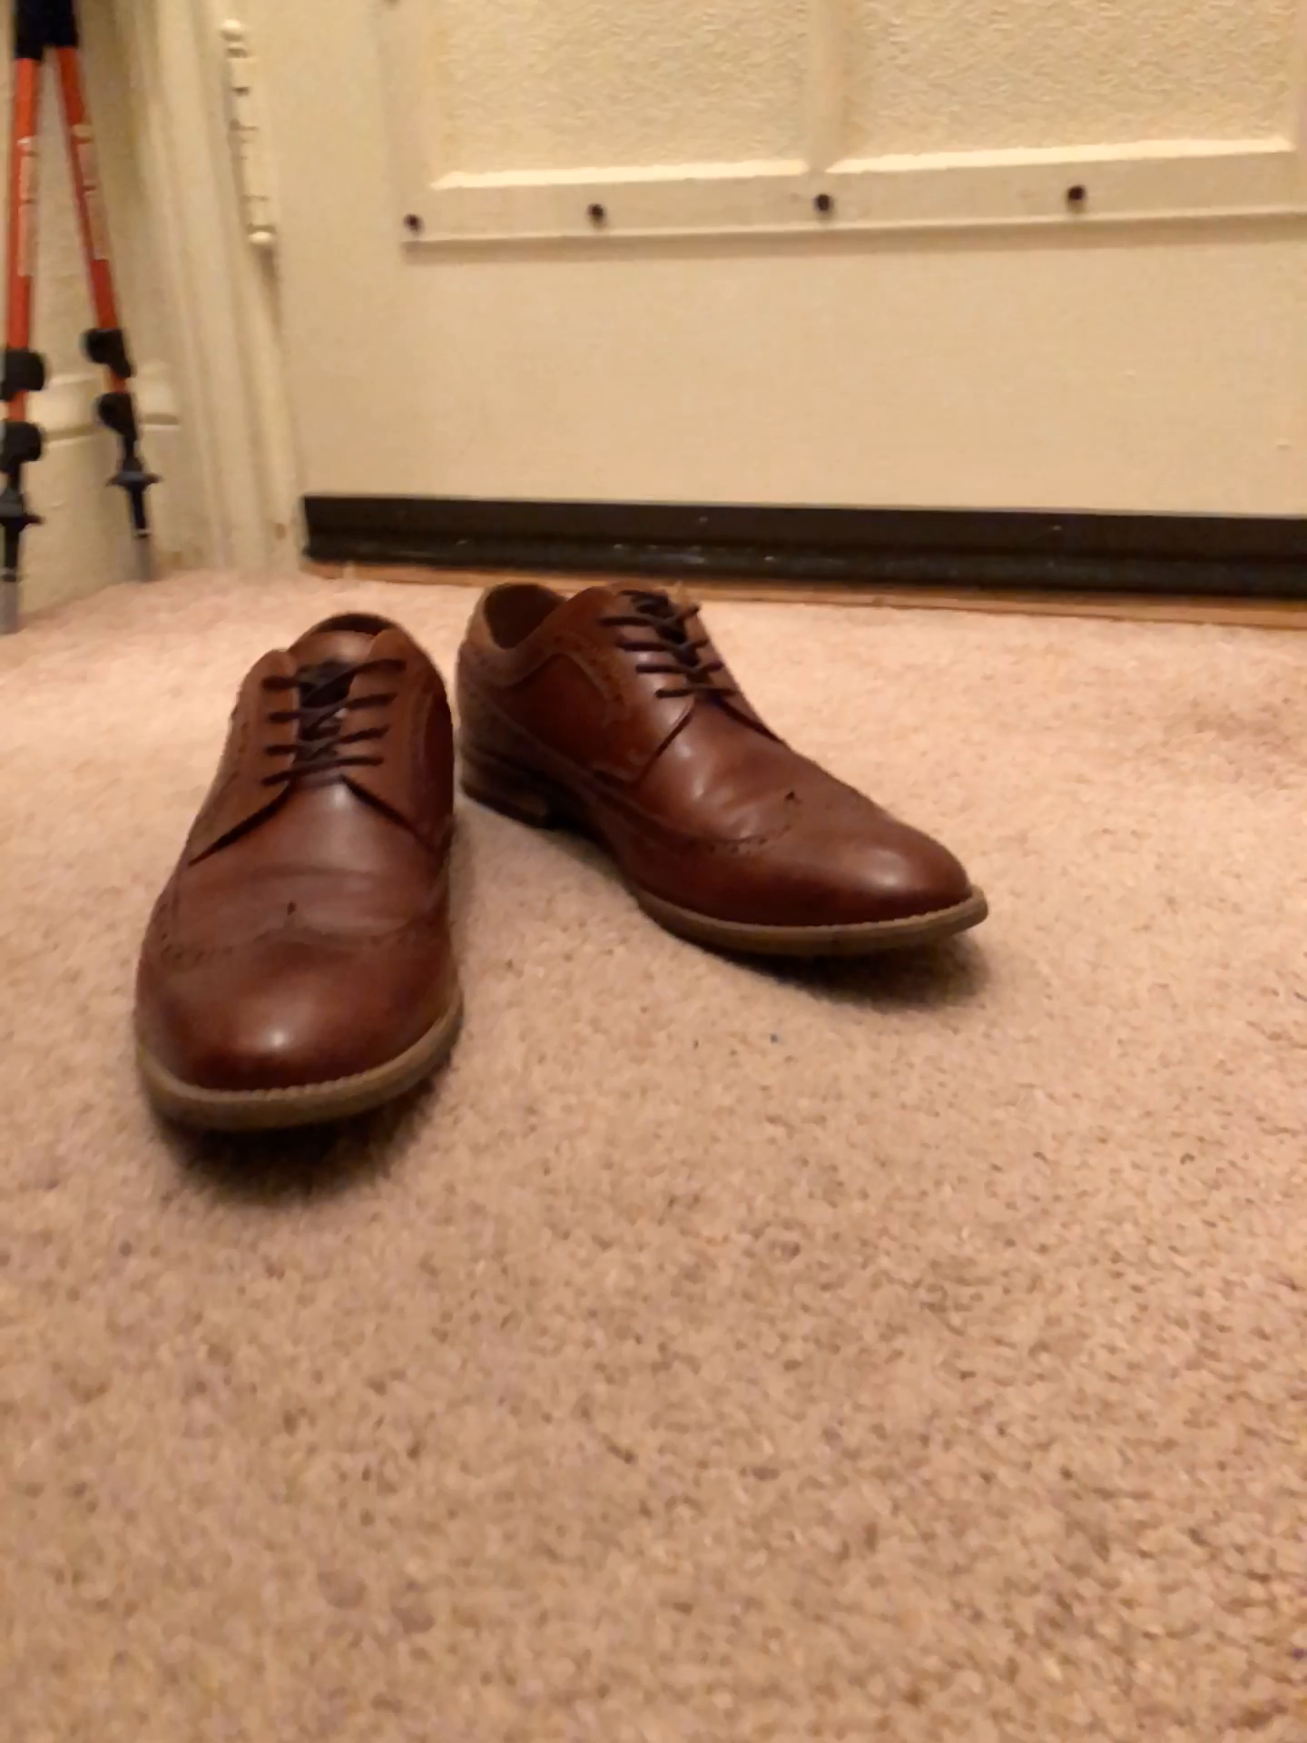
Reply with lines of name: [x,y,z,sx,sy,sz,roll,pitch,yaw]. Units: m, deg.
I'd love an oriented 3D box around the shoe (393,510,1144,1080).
shoe: [0.020,-0.055,0.556,0.115,0.114,0.311,-16,27,-29]

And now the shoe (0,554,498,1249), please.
shoe: [-0.120,-0.019,0.498,0.115,0.114,0.312,-3,24,-3]
